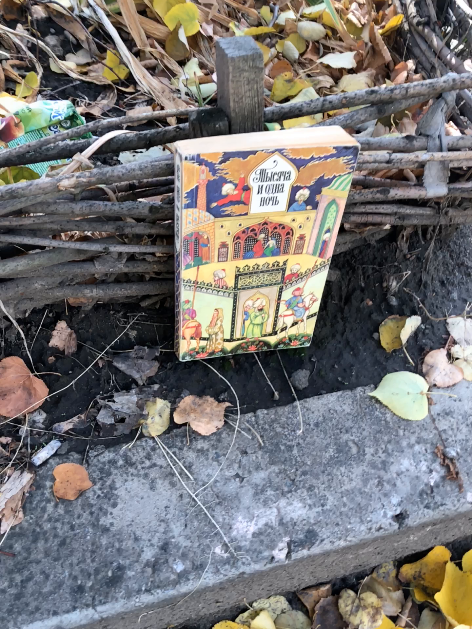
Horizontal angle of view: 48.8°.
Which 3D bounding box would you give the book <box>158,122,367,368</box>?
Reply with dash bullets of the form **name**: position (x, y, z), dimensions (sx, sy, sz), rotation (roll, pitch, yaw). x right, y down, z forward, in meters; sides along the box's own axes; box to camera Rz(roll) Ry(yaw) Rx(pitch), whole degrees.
- **book**: position (0.013, -0.040, 0.374), dimensions (0.122, 0.182, 0.029), rotation (-6, 44, -9)
